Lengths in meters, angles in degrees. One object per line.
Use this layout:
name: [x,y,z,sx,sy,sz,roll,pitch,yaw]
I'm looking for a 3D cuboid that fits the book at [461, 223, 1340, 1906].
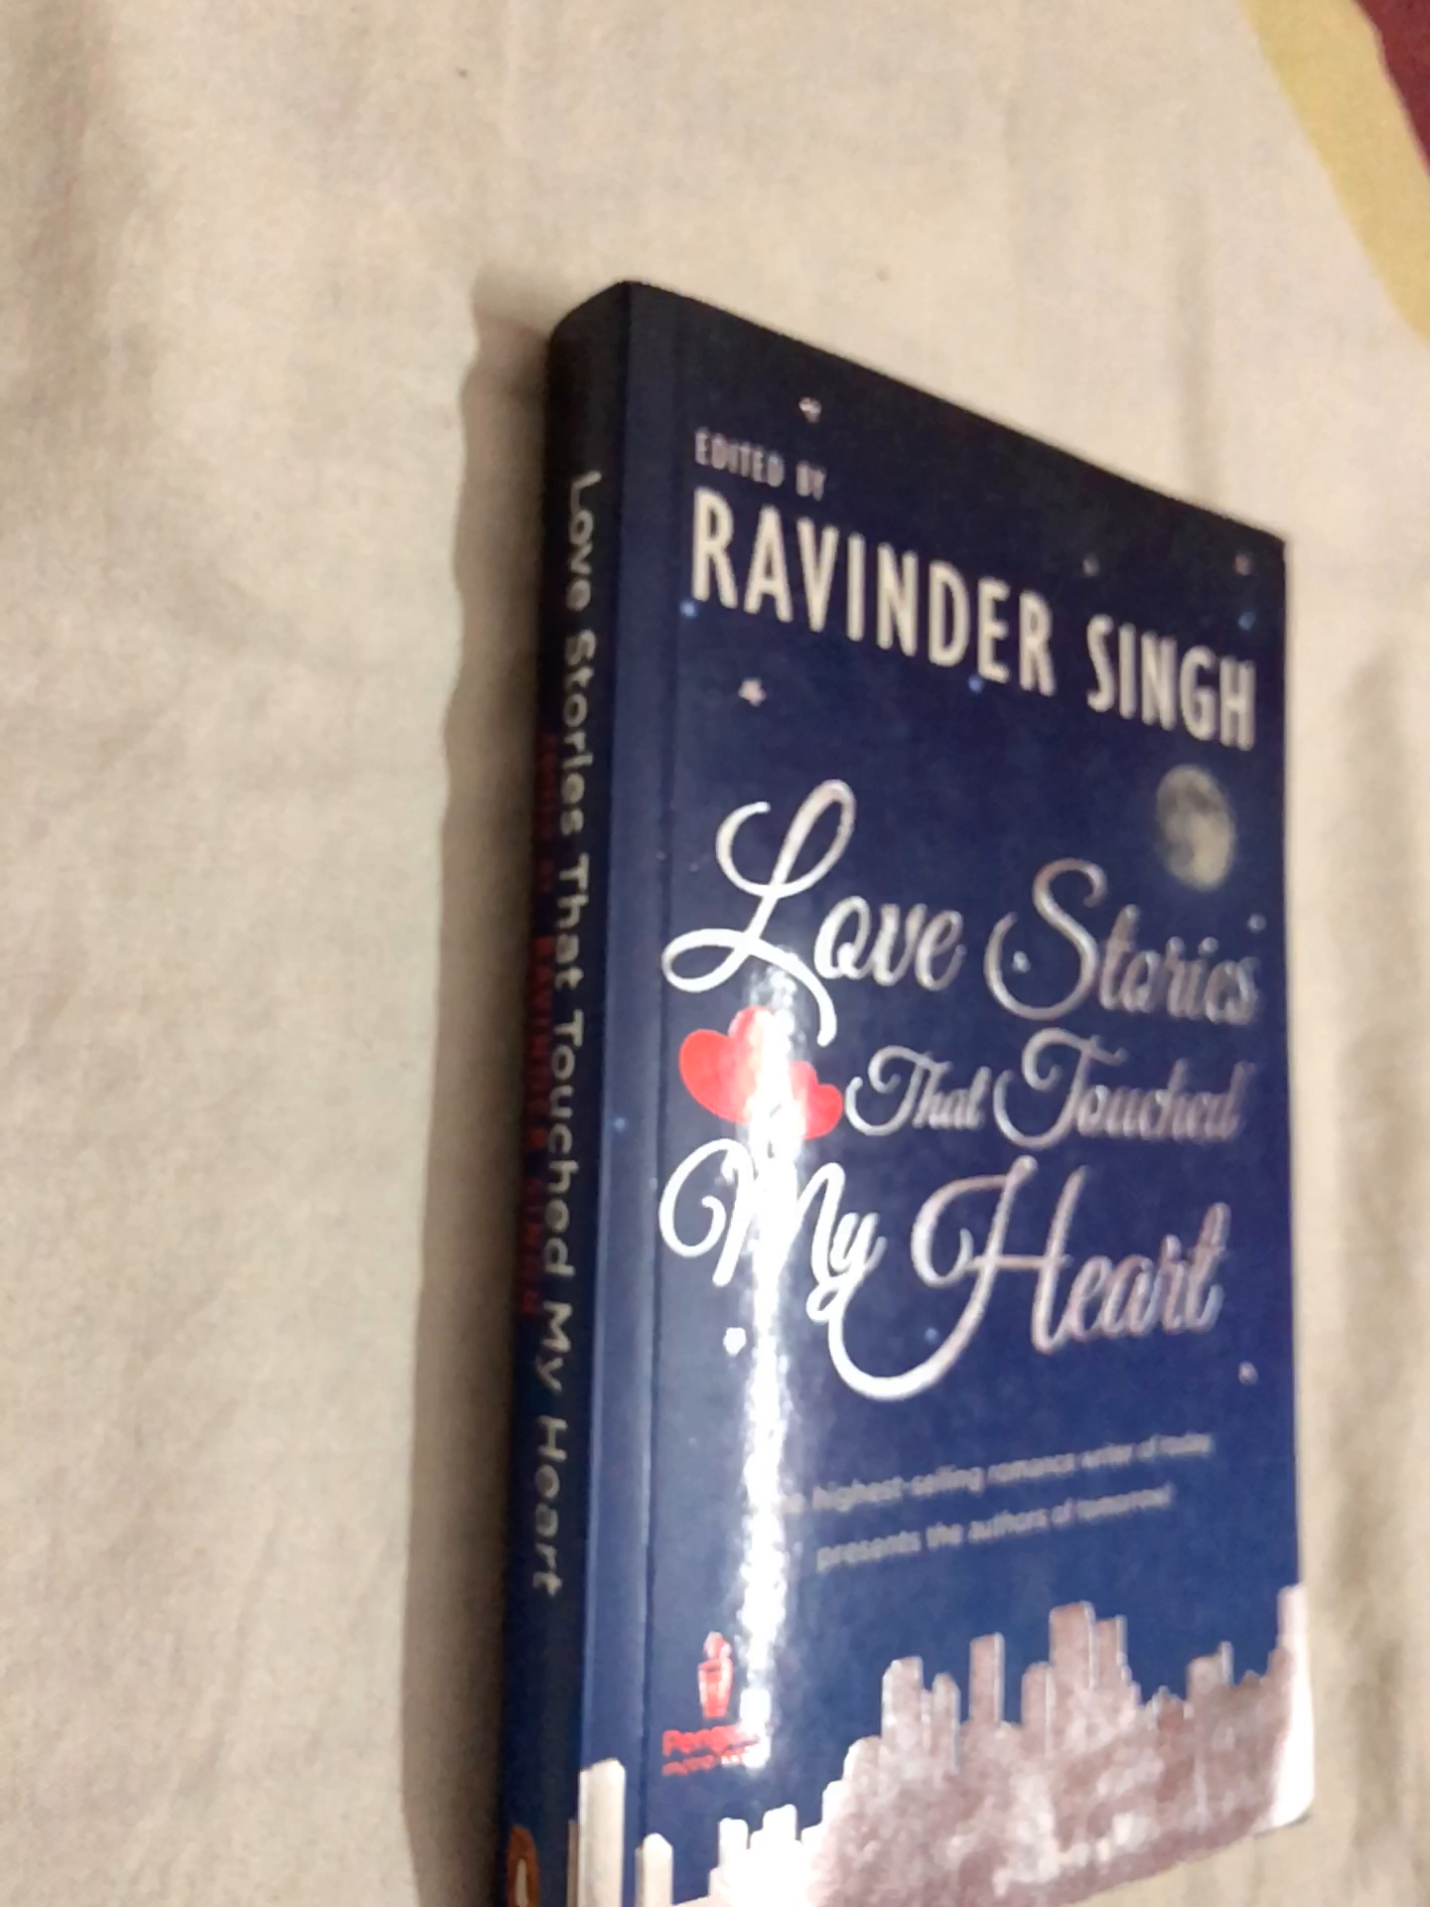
book: [0.034,0.025,0.230,0.131,0.030,0.210,5,83,-35]
